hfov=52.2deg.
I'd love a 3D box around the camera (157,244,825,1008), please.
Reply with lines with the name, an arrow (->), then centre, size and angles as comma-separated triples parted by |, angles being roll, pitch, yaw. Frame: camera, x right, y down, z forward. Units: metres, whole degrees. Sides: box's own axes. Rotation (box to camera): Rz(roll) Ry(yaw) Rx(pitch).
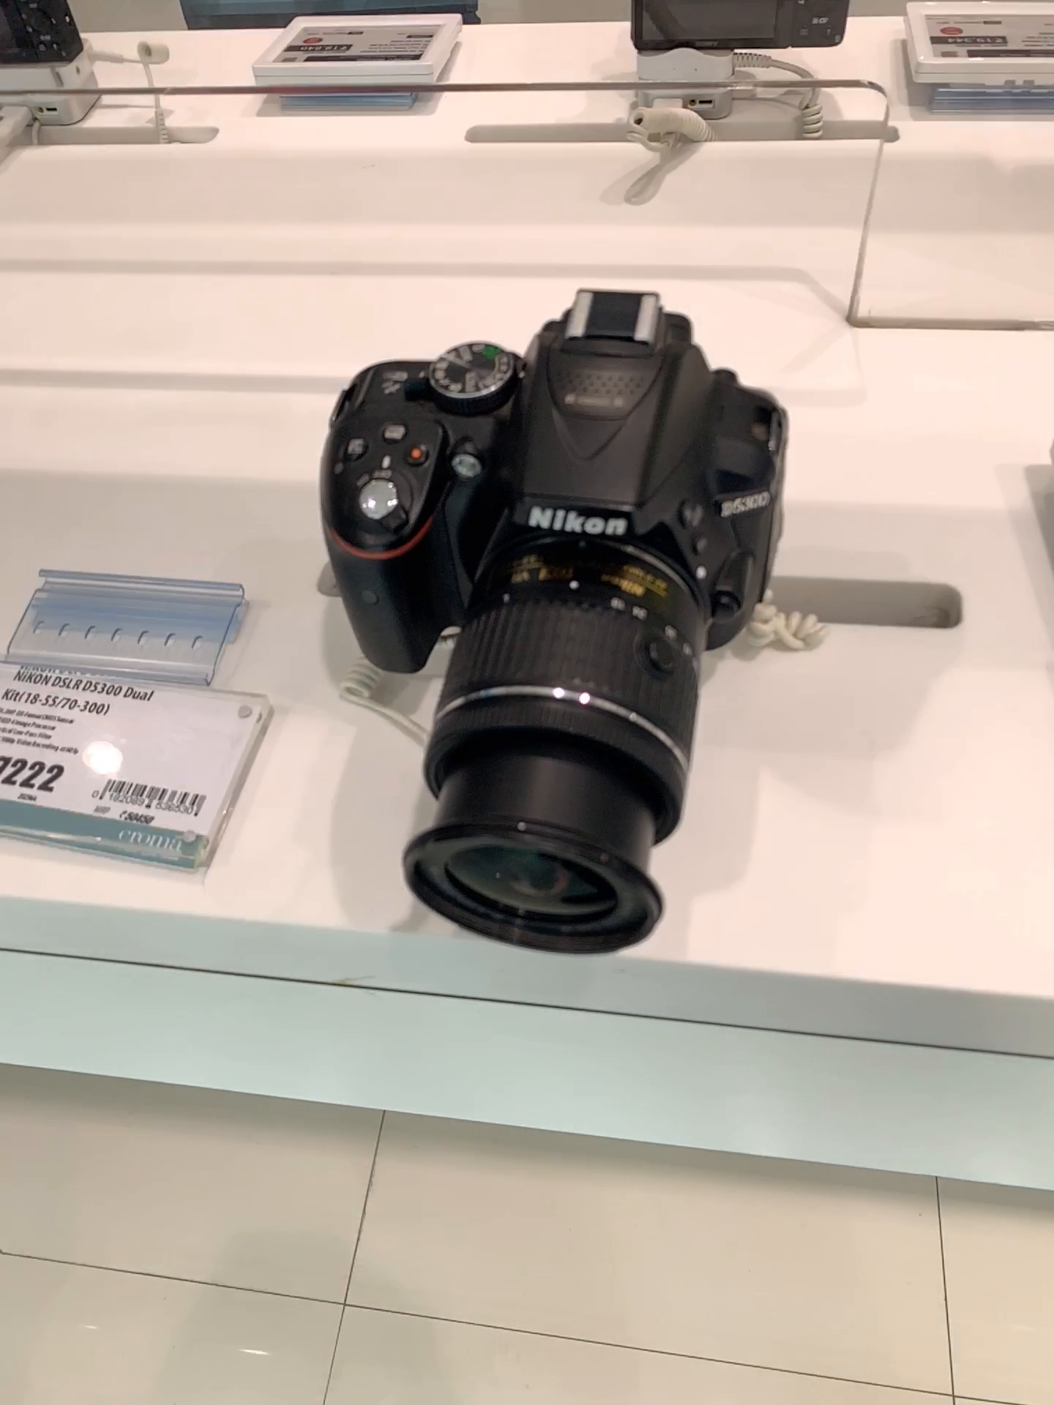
camera -> 0.006, -0.021, 0.266 | 0.110, 0.110, 0.140 | 7, 54, 10
